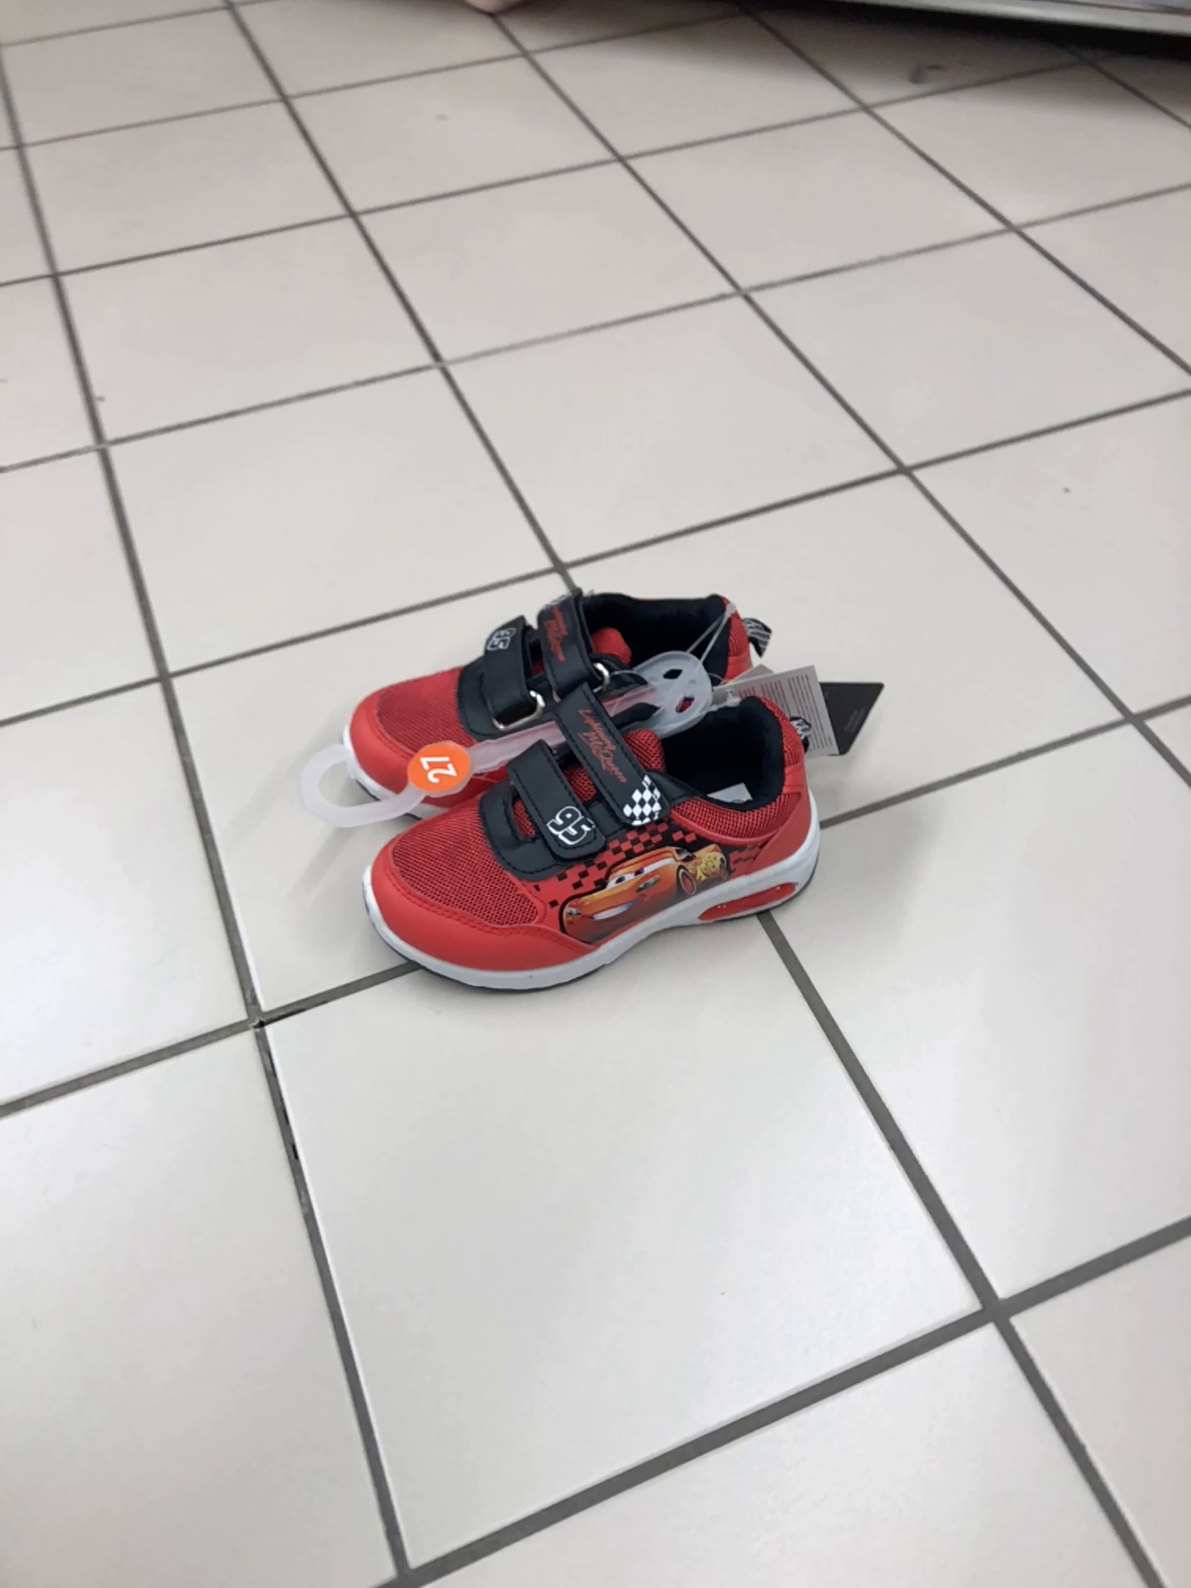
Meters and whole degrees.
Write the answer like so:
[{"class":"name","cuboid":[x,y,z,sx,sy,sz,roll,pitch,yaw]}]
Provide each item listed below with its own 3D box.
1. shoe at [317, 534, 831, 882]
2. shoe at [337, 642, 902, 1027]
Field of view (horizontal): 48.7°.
[{"class":"shoe","cuboid":[-0.011,-0.039,0.563,0.195,0.073,0.088,-12,51,-8]},{"class":"shoe","cuboid":[0.007,0.014,0.518,0.195,0.074,0.088,-12,51,-8]}]
